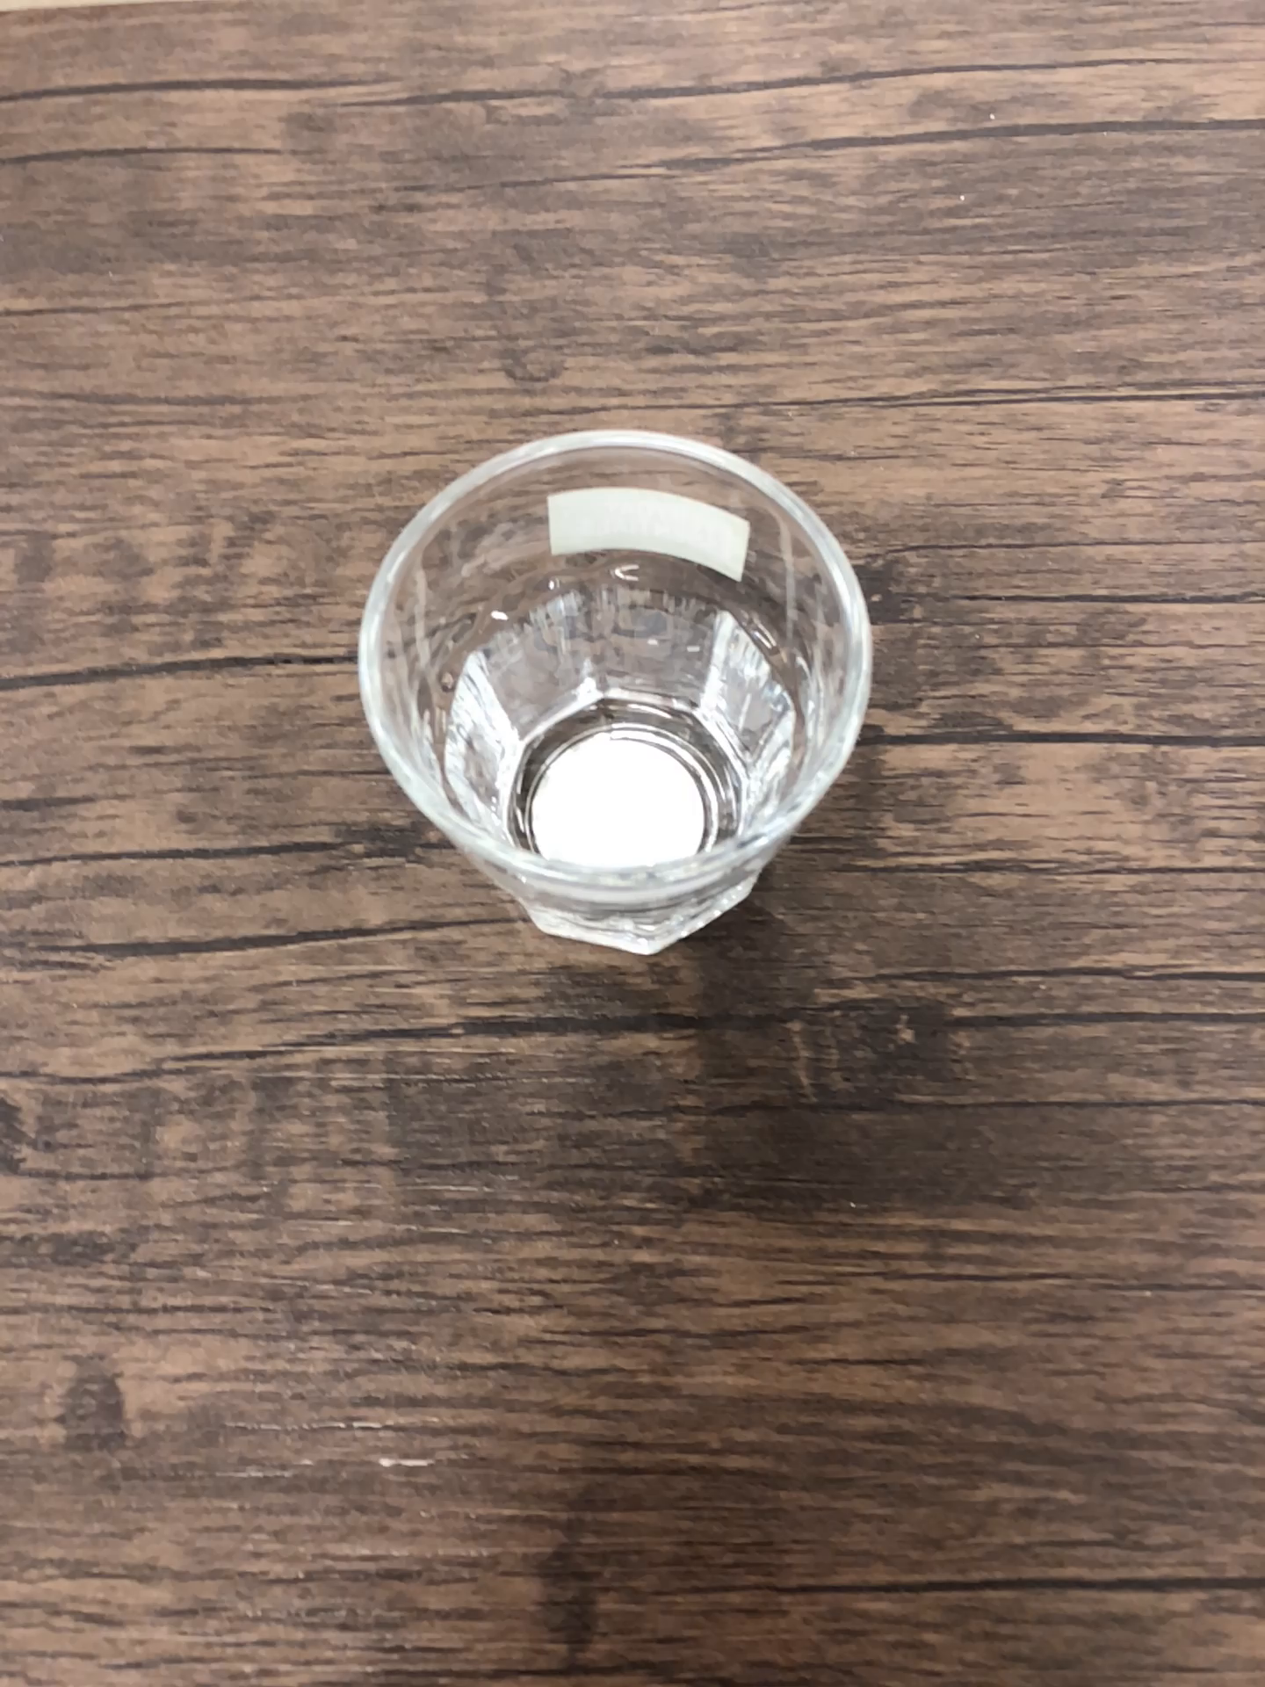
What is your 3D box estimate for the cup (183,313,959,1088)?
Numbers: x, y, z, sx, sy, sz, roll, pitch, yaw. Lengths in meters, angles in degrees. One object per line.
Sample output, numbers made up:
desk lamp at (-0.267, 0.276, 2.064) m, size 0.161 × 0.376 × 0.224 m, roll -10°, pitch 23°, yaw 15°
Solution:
cup at (-0.007, -0.023, 0.252) m, size 0.090 × 0.070 × 0.090 m, roll -1°, pitch 70°, yaw 2°
